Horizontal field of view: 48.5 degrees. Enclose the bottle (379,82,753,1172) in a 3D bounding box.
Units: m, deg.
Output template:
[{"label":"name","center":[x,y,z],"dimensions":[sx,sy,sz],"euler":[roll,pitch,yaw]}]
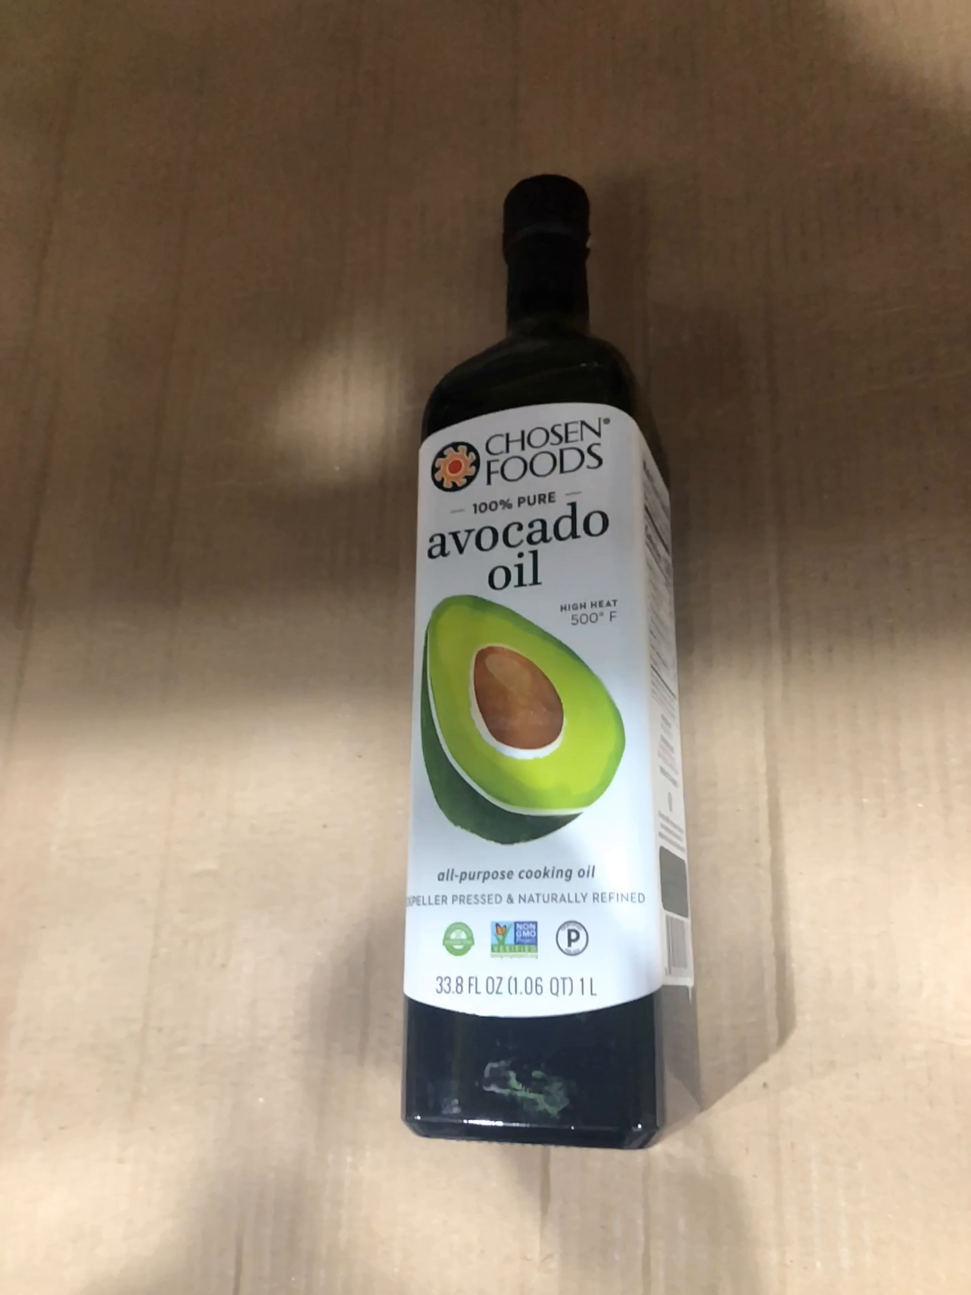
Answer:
[{"label":"bottle","center":[0.028,-0.016,0.345],"dimensions":[0.086,0.074,0.320],"euler":[-5,71,18]}]
